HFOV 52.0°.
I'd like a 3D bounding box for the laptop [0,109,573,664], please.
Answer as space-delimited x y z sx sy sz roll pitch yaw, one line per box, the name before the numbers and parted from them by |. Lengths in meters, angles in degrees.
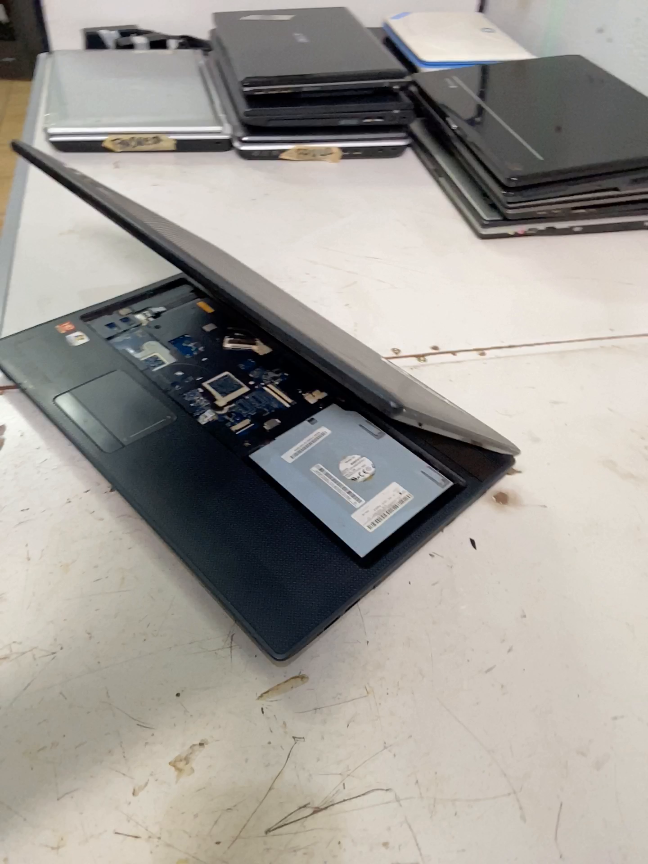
laptop | -0.066 -0.076 0.484 0.240 0.156 0.370 -31 54 -32
